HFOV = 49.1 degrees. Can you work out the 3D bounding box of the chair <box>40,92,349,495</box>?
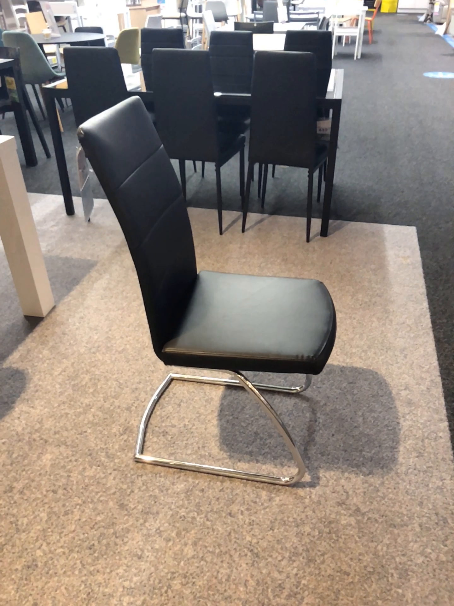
[{"bbox_3d":[-0.024,-0.027,1.327,0.560,0.905,0.493,5,33,8],"label":"chair"}]
